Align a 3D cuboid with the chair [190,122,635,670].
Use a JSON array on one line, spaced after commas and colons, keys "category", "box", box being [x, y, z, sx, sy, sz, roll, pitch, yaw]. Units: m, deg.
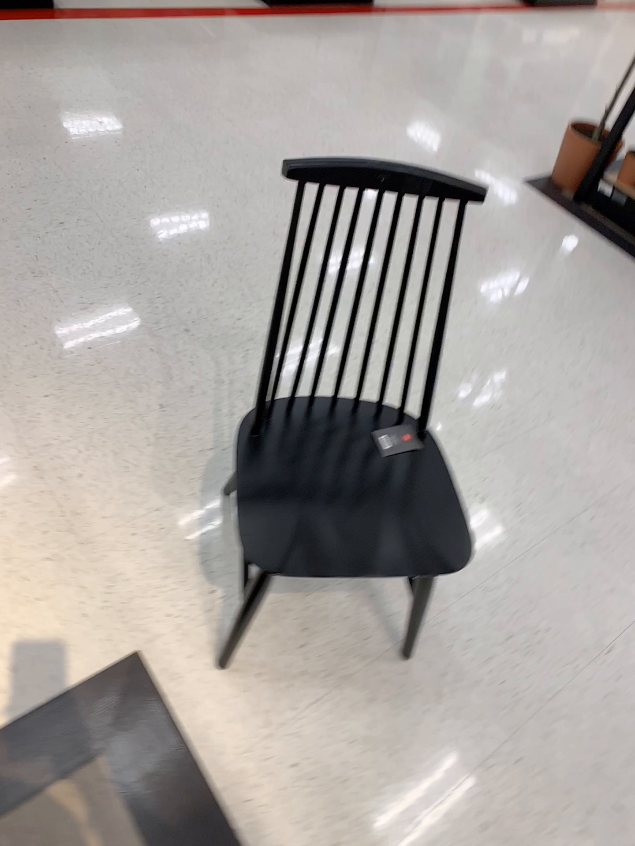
[{"category": "chair", "box": [0.058, 0.039, 1.287, 0.530, 0.946, 0.552, 4, 48, -12]}]
